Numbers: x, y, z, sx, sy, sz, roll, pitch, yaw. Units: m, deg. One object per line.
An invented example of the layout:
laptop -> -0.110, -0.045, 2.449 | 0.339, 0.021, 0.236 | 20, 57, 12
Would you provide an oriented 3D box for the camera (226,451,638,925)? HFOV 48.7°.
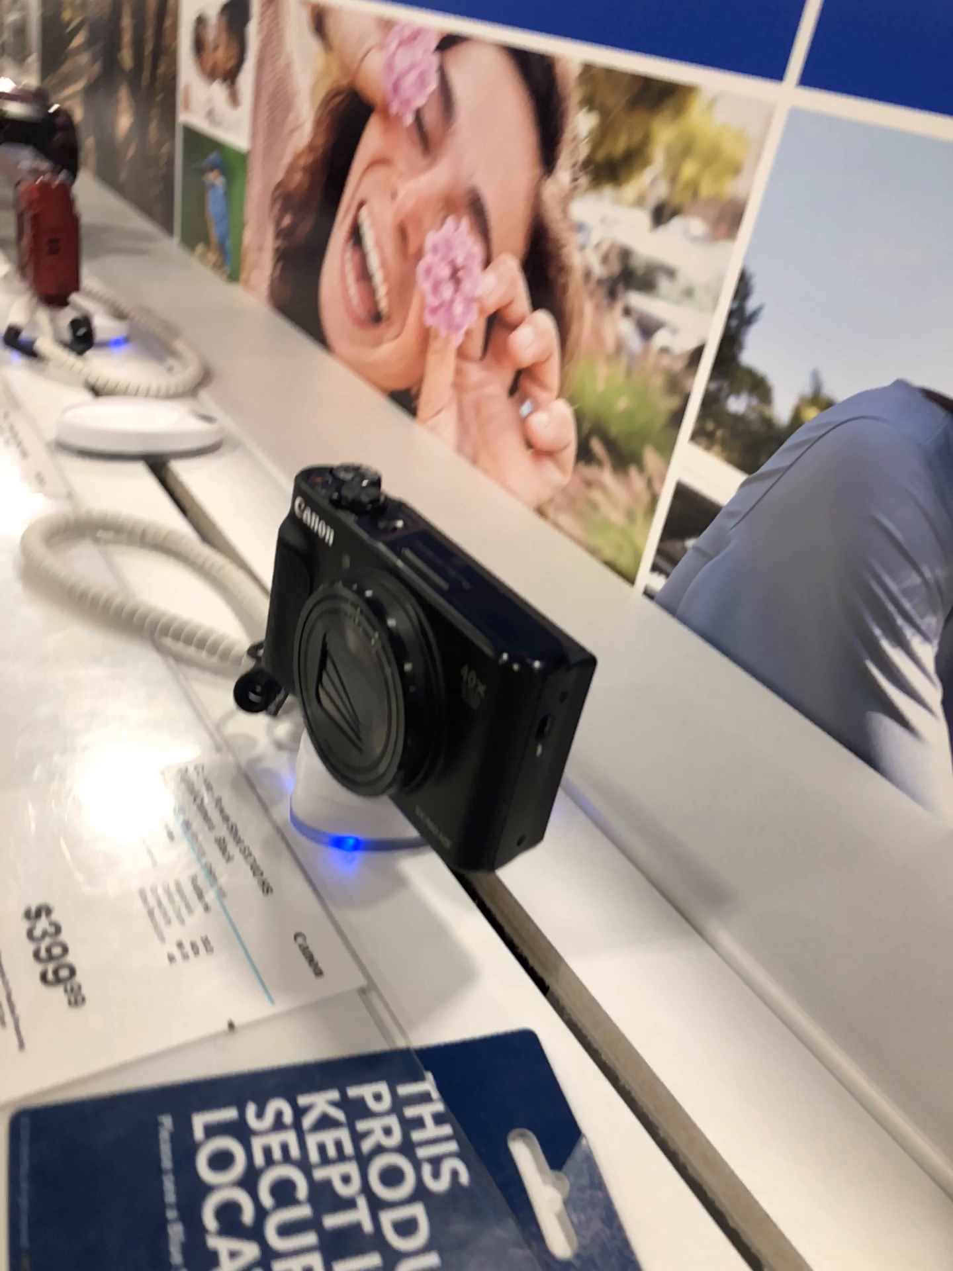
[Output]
camera -> -0.021, 0.006, 0.286 | 0.040, 0.070, 0.120 | -11, 36, -37
